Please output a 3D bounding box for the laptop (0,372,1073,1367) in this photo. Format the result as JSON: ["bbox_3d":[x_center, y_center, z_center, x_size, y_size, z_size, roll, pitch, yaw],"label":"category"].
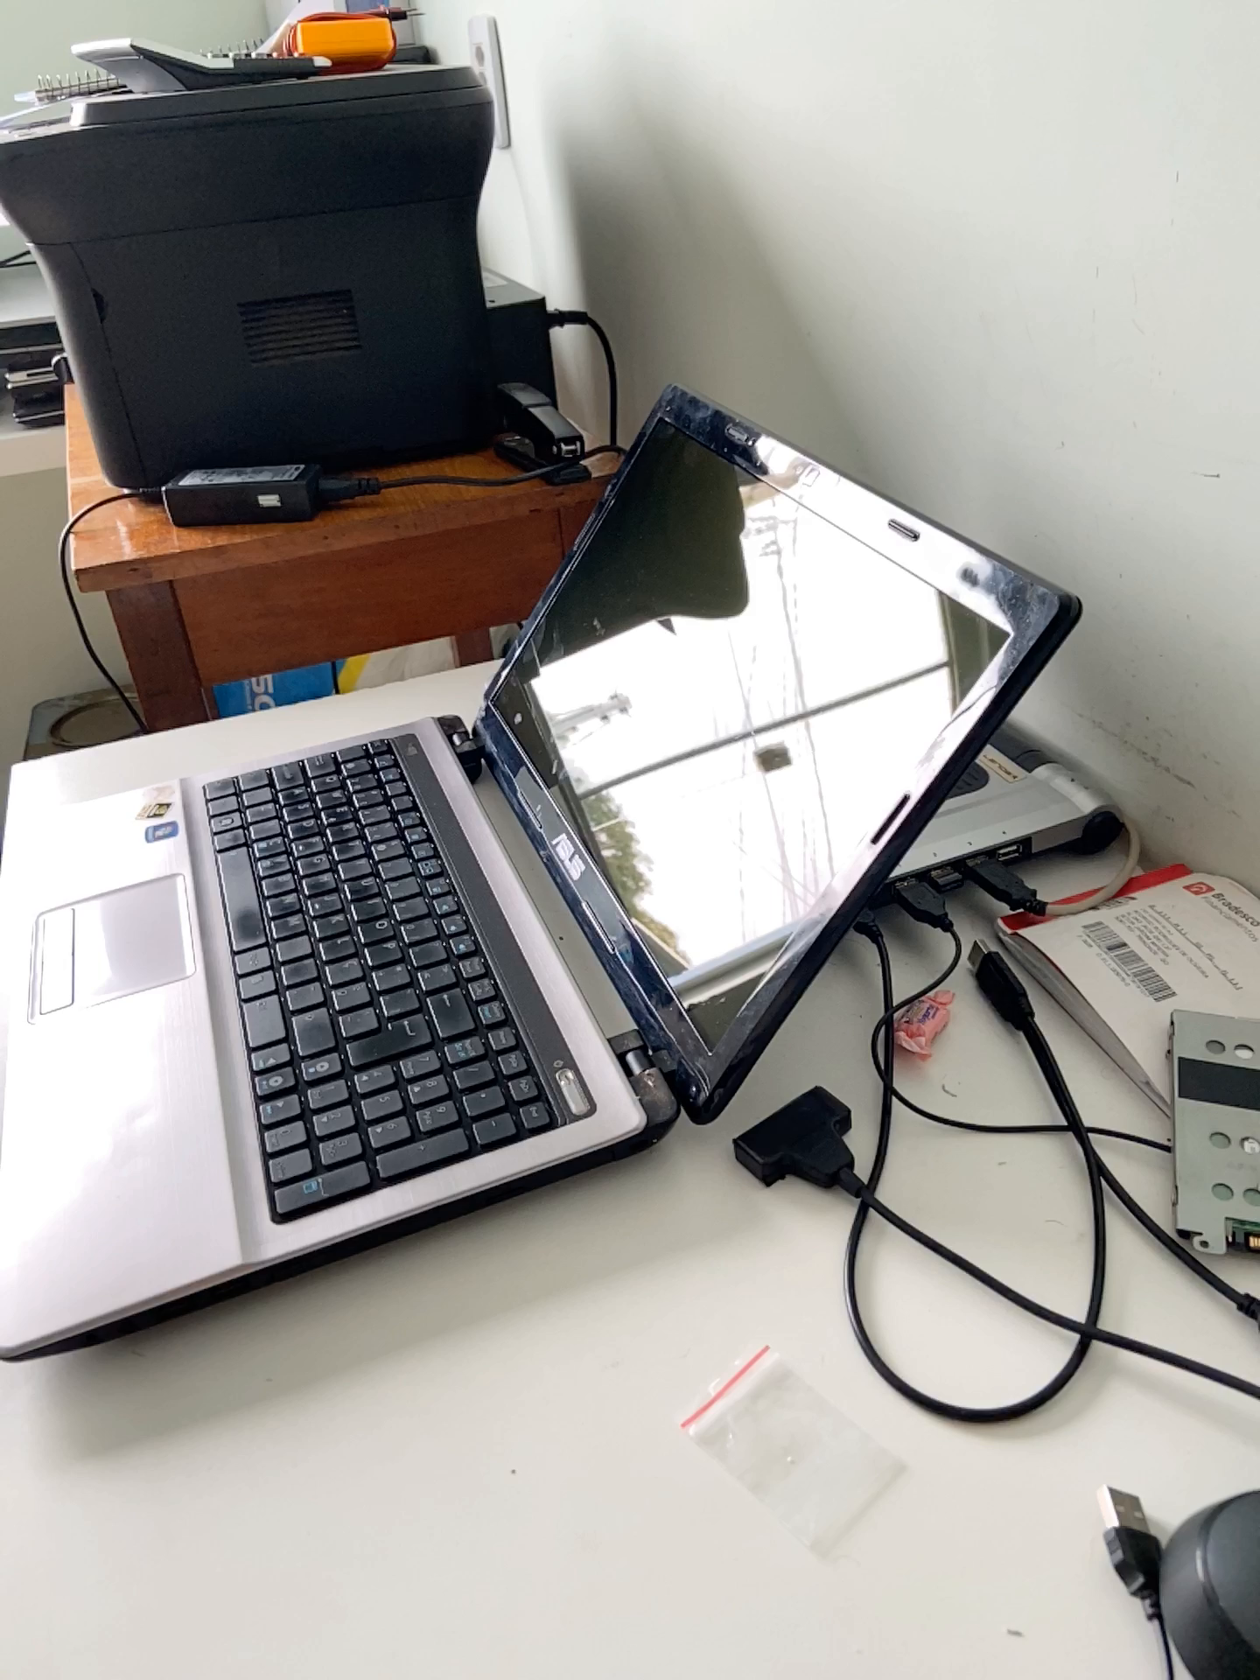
[{"bbox_3d":[-0.095,-0.047,0.596,0.415,0.179,0.378,-16,34,-13],"label":"laptop"}]
